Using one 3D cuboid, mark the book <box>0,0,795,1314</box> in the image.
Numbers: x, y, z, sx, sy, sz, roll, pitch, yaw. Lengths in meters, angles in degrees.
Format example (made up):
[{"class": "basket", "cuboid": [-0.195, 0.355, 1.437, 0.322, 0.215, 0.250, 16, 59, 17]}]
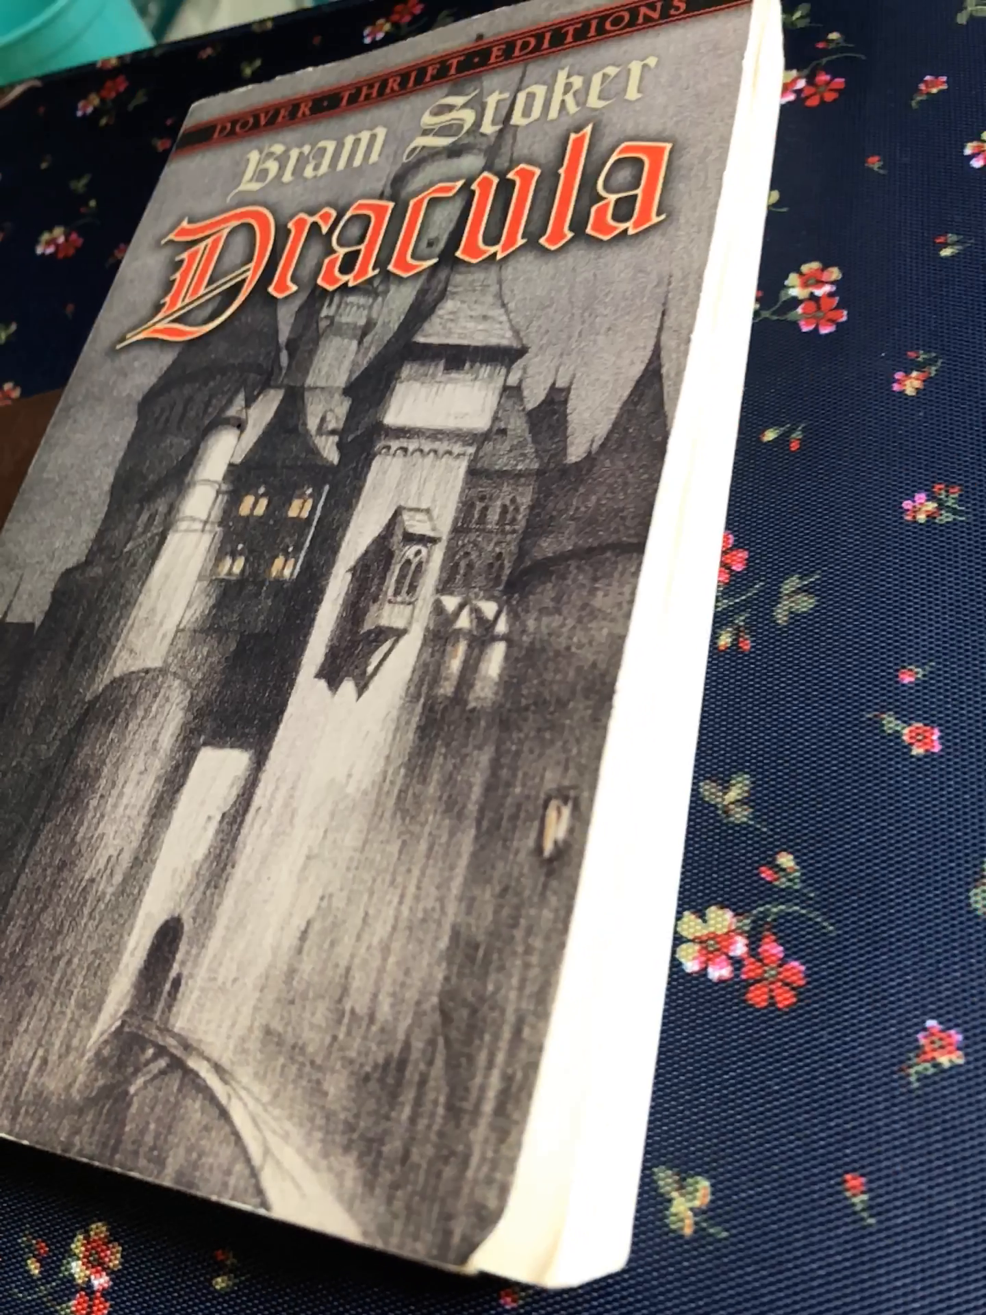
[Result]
[{"class": "book", "cuboid": [-0.028, -0.022, 0.185, 0.130, 0.033, 0.203, 0, 63, 27]}]
